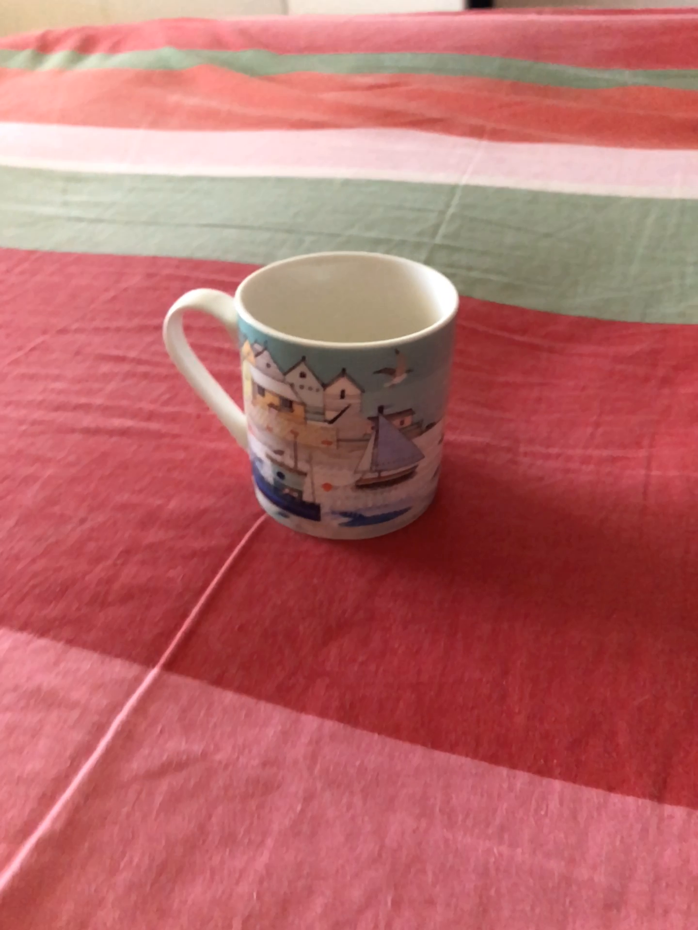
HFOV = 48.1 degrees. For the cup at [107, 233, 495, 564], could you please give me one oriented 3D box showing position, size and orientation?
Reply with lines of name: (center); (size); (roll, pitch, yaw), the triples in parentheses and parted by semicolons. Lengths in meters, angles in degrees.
cup: (-0.013, -0.034, 0.319); (0.120, 0.080, 0.094); (12, 38, 17)
